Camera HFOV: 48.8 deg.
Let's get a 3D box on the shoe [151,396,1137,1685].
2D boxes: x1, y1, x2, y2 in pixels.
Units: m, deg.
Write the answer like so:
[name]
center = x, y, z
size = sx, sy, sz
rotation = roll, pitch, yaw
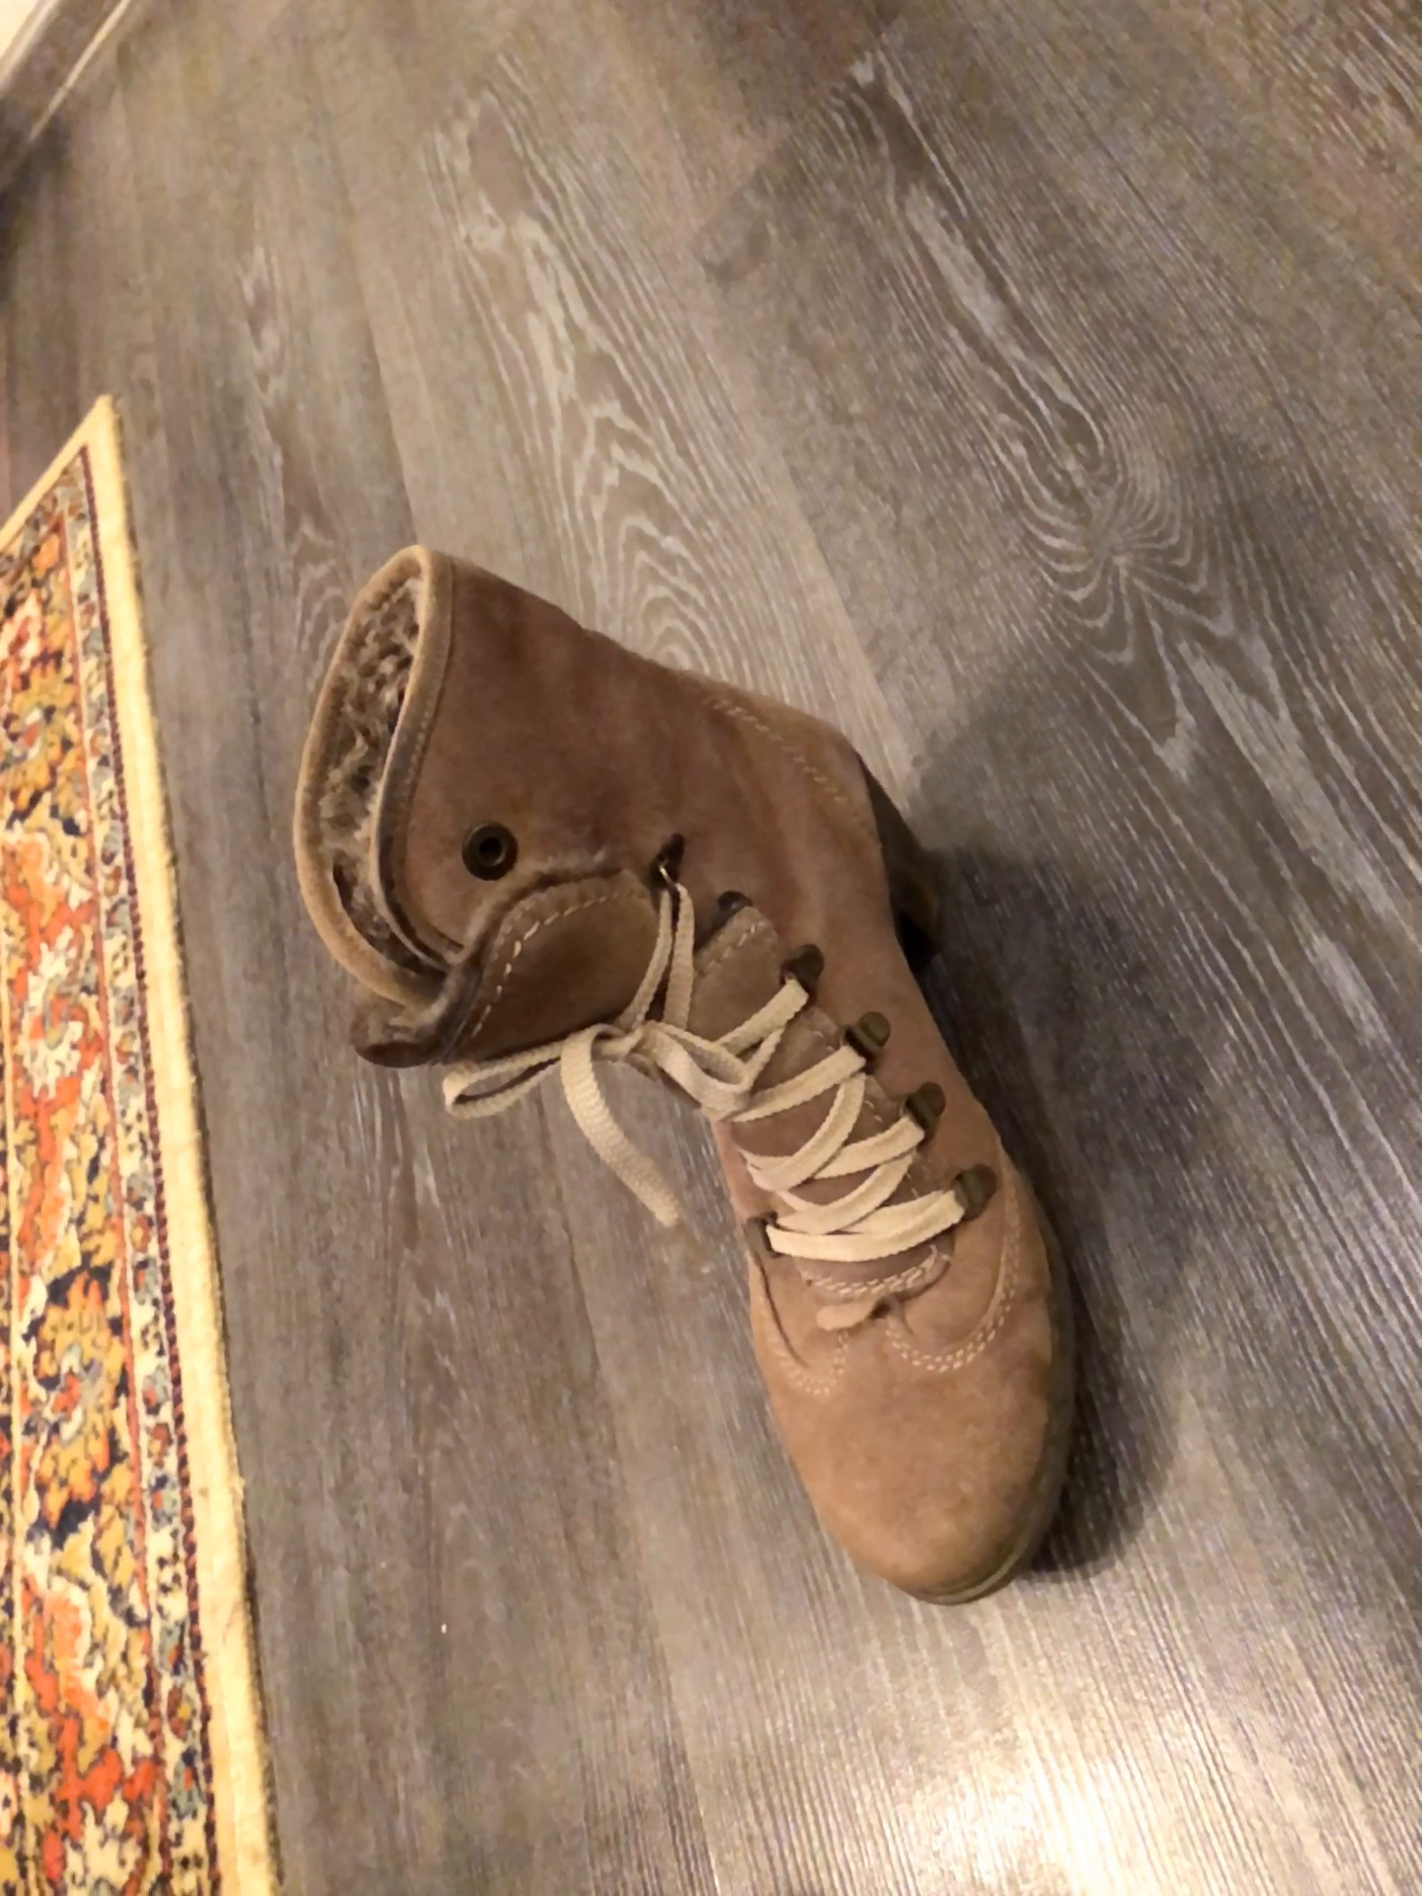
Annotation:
[shoe]
center = -0.008, 0.036, 0.372
size = 0.100, 0.189, 0.241
rotation = -22, 60, 37
